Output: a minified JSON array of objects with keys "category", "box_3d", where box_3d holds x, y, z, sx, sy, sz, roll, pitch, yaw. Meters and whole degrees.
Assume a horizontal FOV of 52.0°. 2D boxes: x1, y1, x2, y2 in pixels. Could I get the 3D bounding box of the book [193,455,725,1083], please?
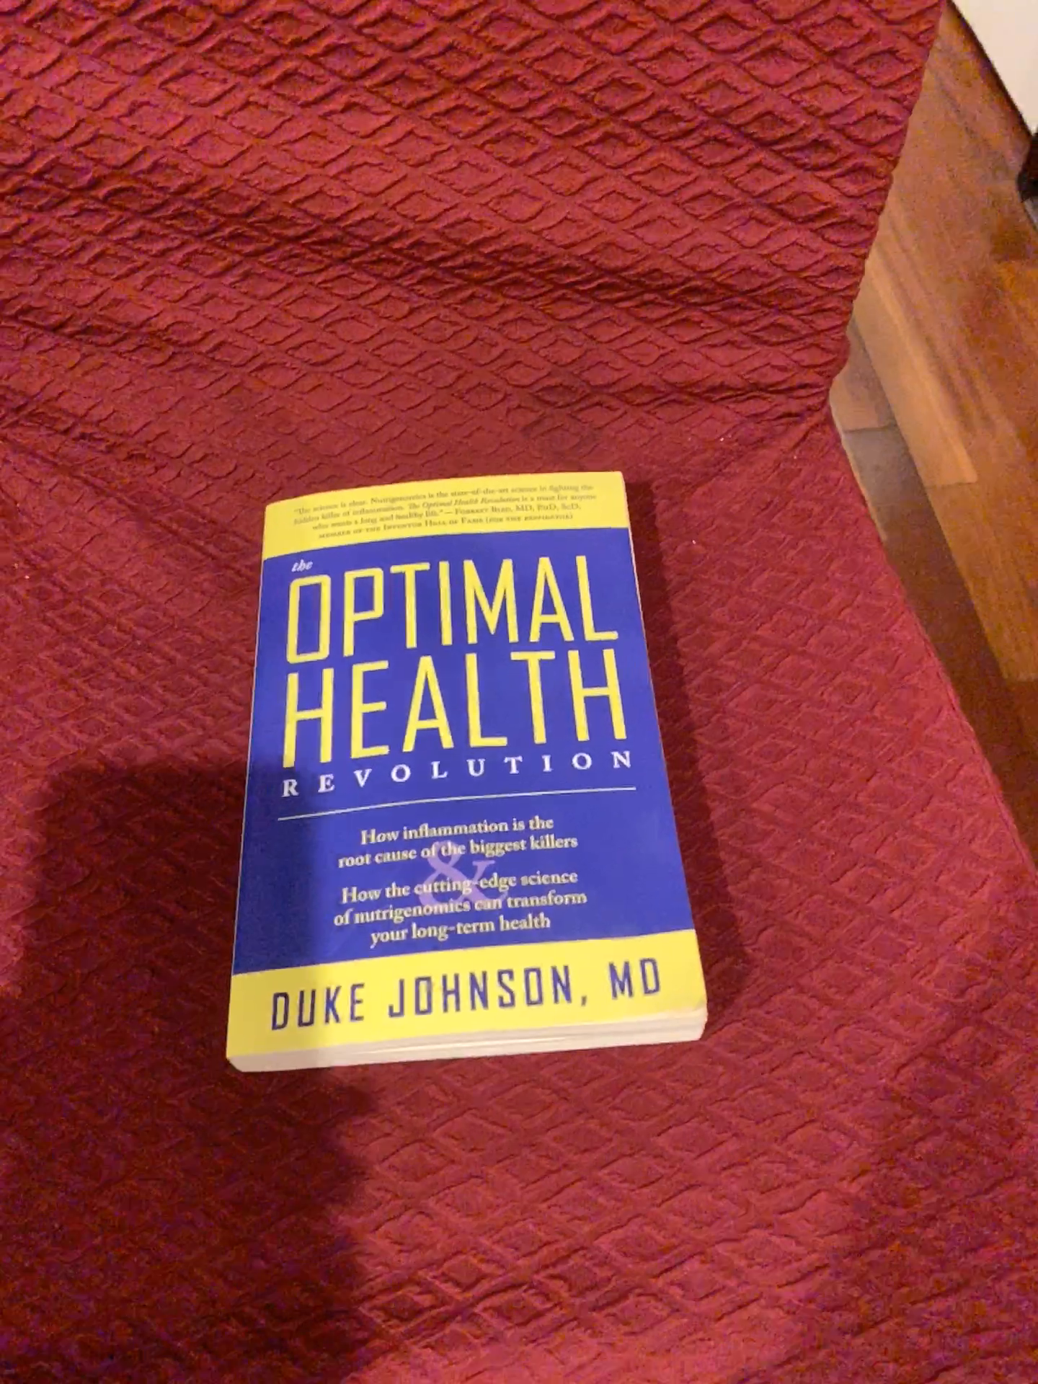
[{"category":"book","box_3d":[-0.023,0.021,0.402,0.161,0.060,0.222,-4,60,1]}]
